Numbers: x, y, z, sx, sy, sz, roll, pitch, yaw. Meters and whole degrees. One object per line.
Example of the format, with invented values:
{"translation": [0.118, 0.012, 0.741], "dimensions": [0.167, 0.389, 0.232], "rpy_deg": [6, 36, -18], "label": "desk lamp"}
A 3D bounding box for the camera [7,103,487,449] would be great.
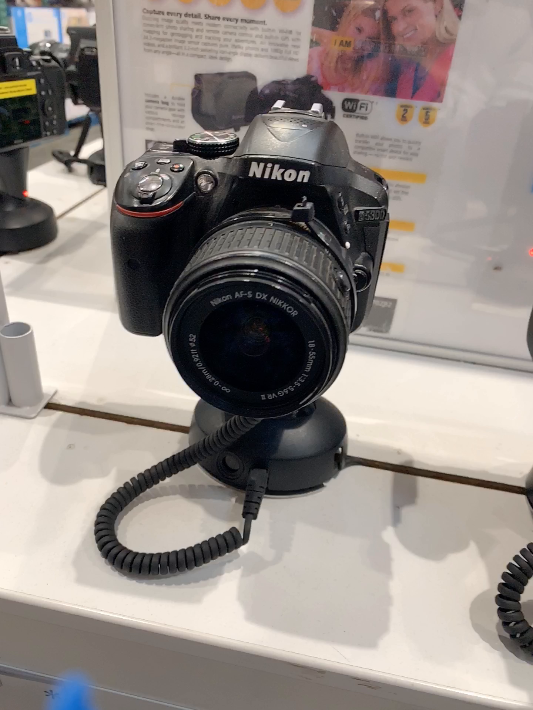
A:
{"translation": [-0.002, -0.044, 0.215], "dimensions": [0.120, 0.069, 0.141], "rpy_deg": [7, 32, 2], "label": "camera"}
